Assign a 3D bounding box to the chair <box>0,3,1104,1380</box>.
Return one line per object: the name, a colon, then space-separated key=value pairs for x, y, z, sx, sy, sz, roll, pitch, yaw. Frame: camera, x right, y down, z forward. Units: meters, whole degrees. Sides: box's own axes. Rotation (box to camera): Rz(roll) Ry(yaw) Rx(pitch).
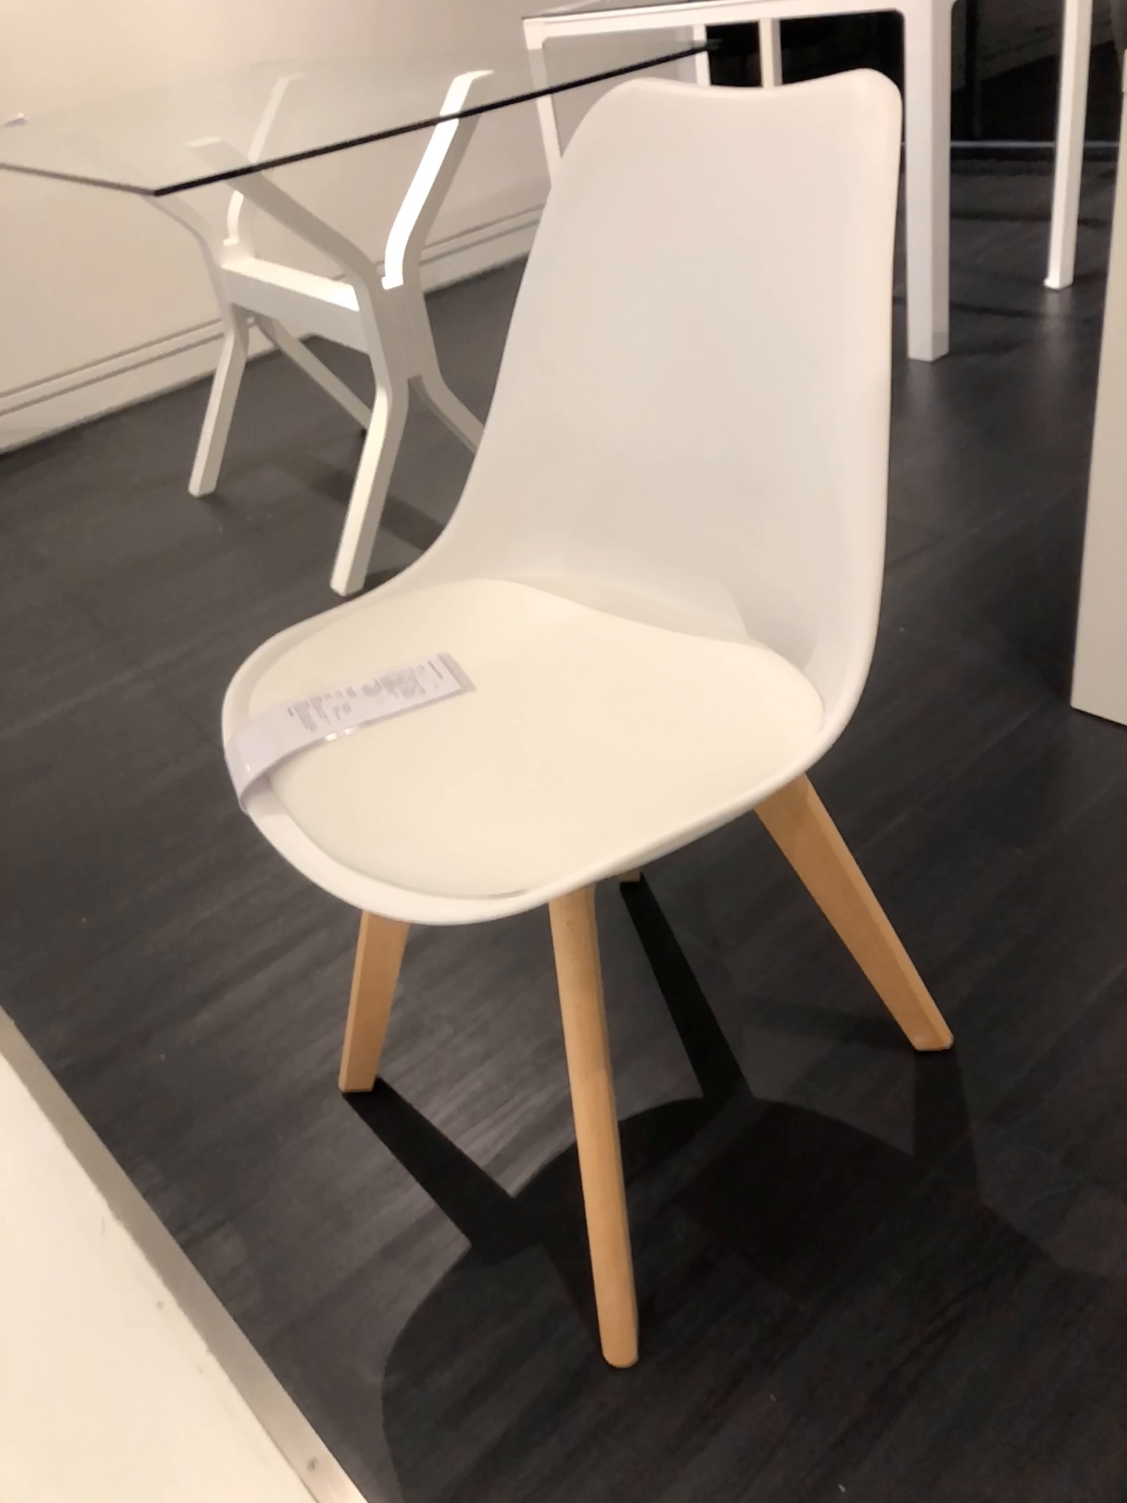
chair: x=0.018 y=-0.078 z=0.986 sx=0.531 sy=0.784 sz=0.503 roll=-30 pitch=37 yaw=-28
